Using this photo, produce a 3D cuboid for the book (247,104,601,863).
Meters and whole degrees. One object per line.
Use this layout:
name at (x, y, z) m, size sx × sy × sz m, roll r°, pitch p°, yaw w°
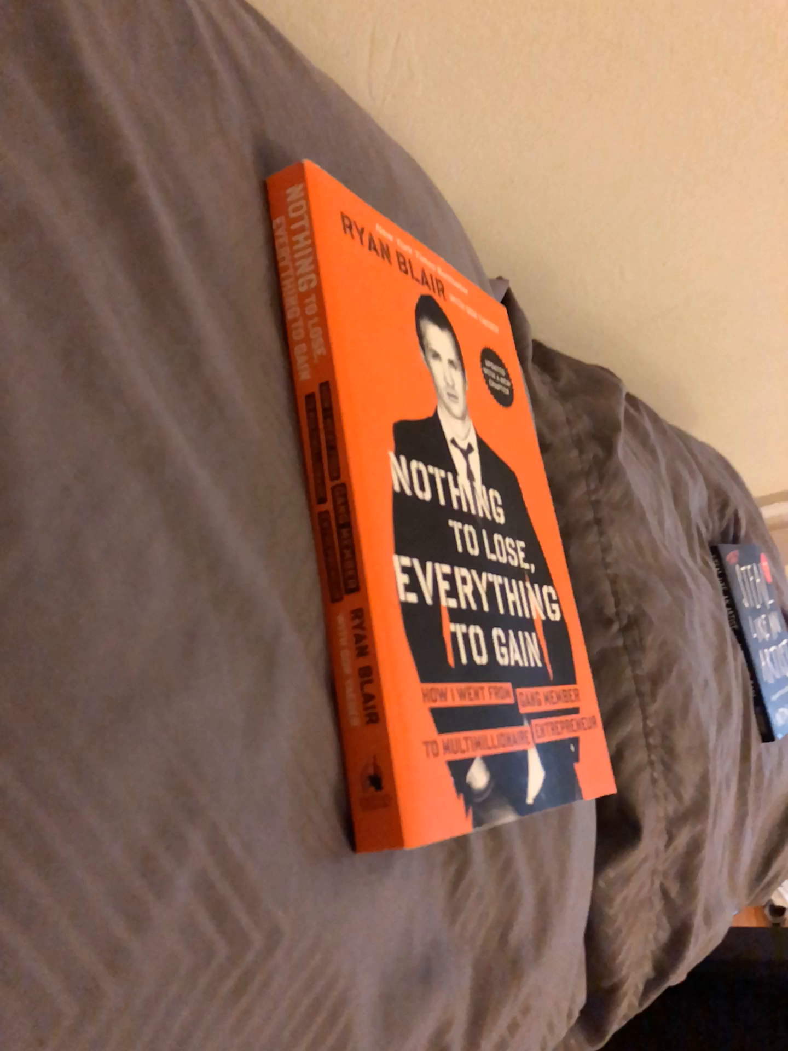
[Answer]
book at (0.016, -0.012, 0.317) m, size 0.151 × 0.020 × 0.230 m, roll 17°, pitch 59°, yaw -57°
